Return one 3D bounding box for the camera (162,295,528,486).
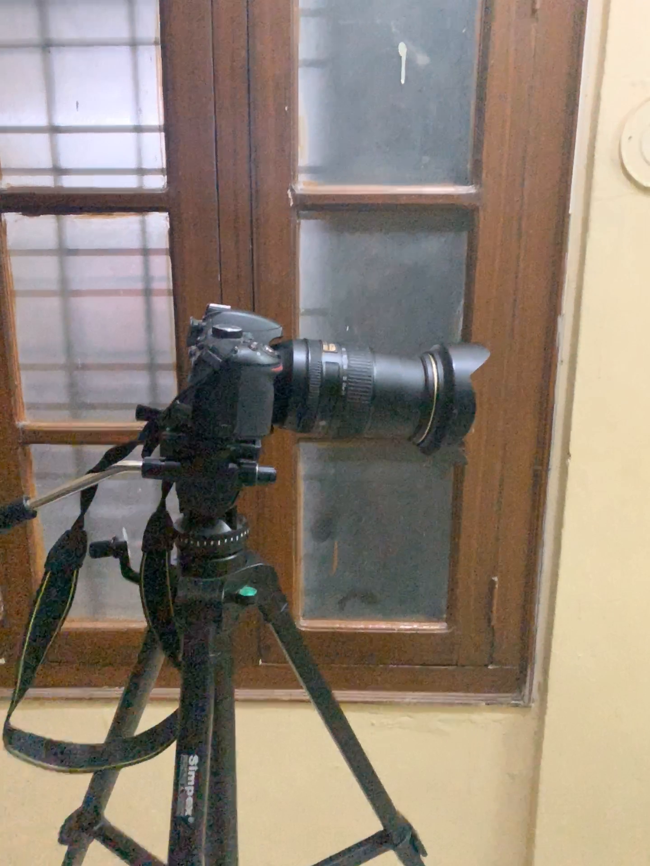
[{"bbox_3d":[0.010,-0.041,0.570,0.270,0.120,0.130,5,13,-7],"label":"camera"}]
